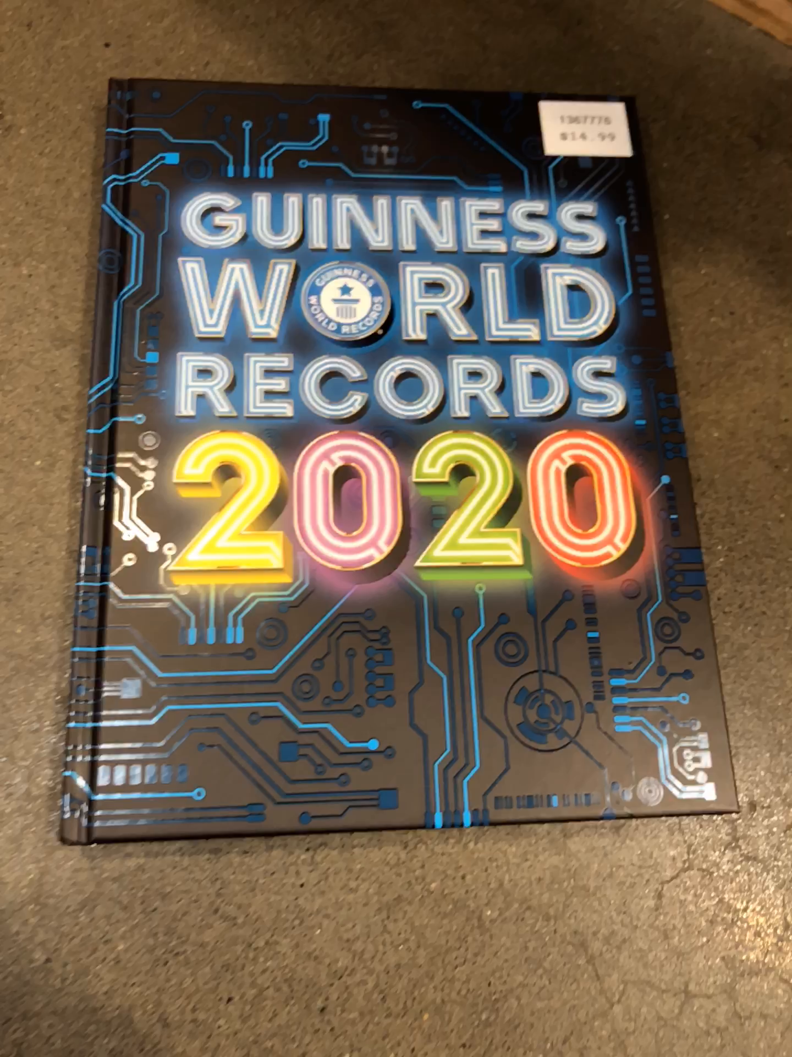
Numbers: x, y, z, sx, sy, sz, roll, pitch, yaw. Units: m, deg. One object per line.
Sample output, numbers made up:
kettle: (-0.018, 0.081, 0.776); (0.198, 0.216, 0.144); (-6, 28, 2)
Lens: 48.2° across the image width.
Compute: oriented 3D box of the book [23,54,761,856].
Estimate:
book: (-0.004, -0.044, 0.347); (0.240, 0.030, 0.312); (-1, 73, -6)
